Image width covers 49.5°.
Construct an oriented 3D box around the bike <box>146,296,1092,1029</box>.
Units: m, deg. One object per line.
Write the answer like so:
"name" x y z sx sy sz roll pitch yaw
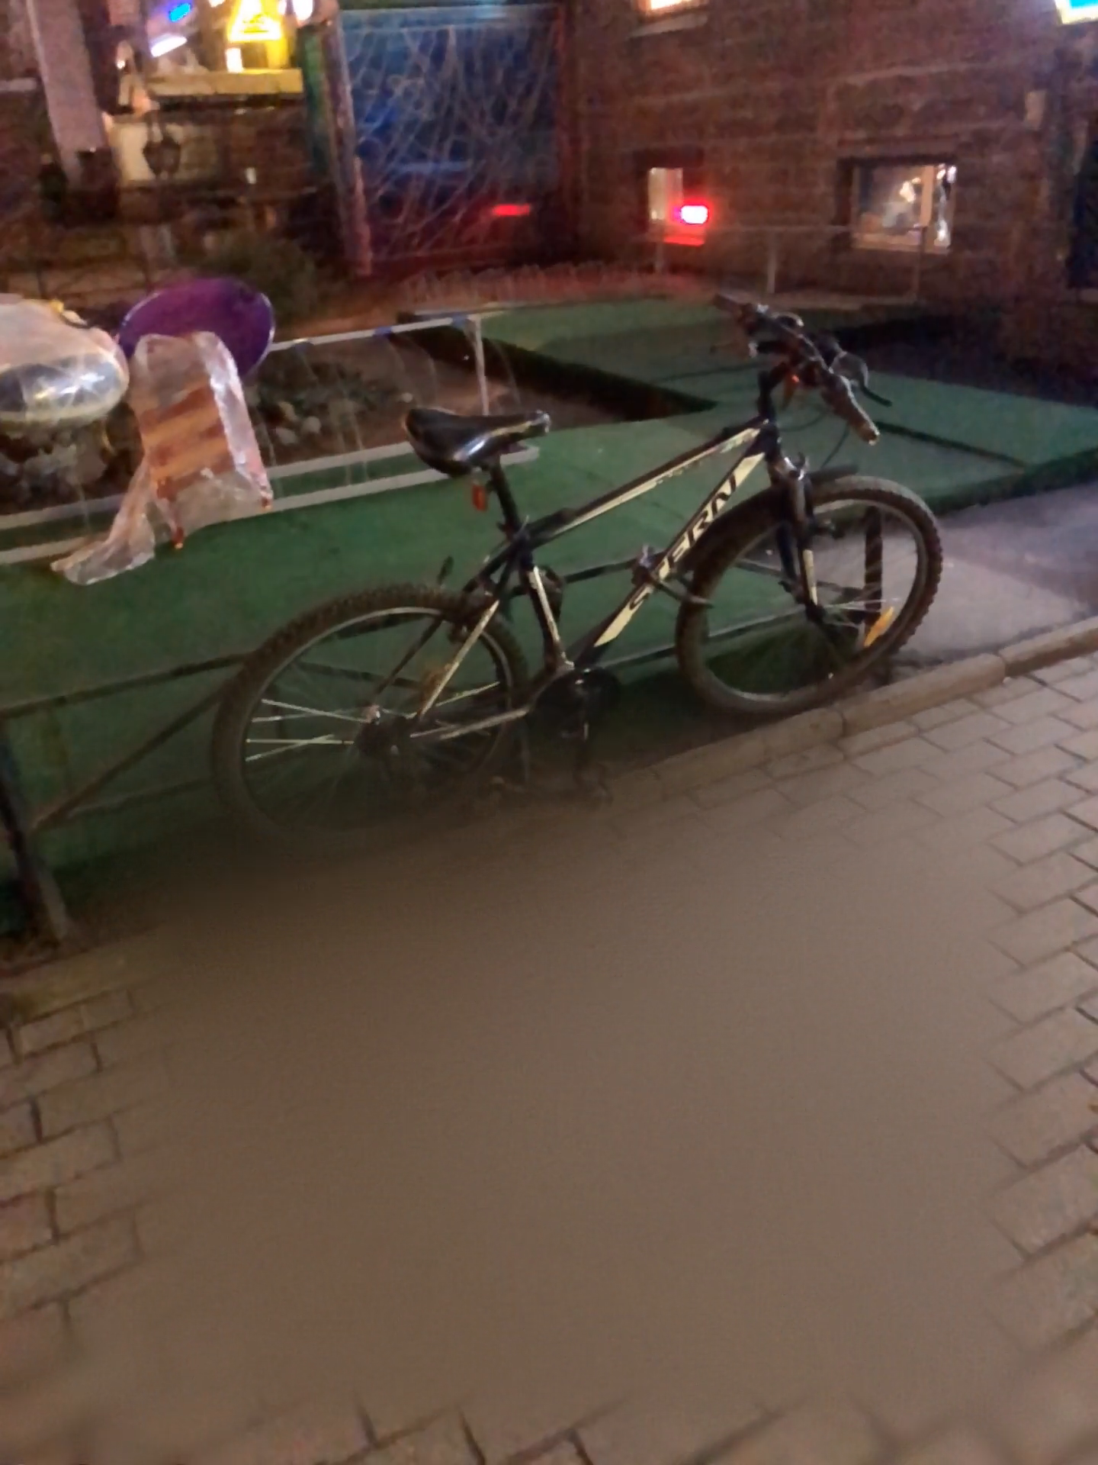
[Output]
"bike" 0.164 -0.225 2.080 1.458 0.883 0.532 -14 26 -23
